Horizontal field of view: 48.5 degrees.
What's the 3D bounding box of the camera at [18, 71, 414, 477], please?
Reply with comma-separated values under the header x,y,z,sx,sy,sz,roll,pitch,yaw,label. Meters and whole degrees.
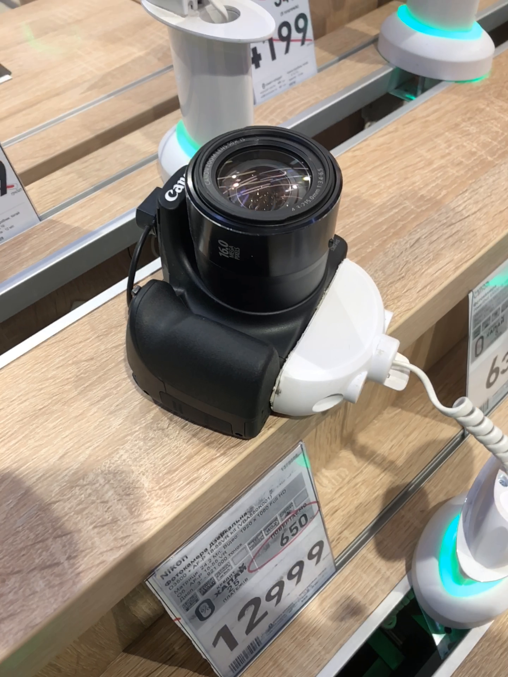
x,y,z,sx,sy,sz,roll,pitch,yaw,label
-0.009,-0.033,0.261,0.107,0.090,0.134,23,57,12,camera
